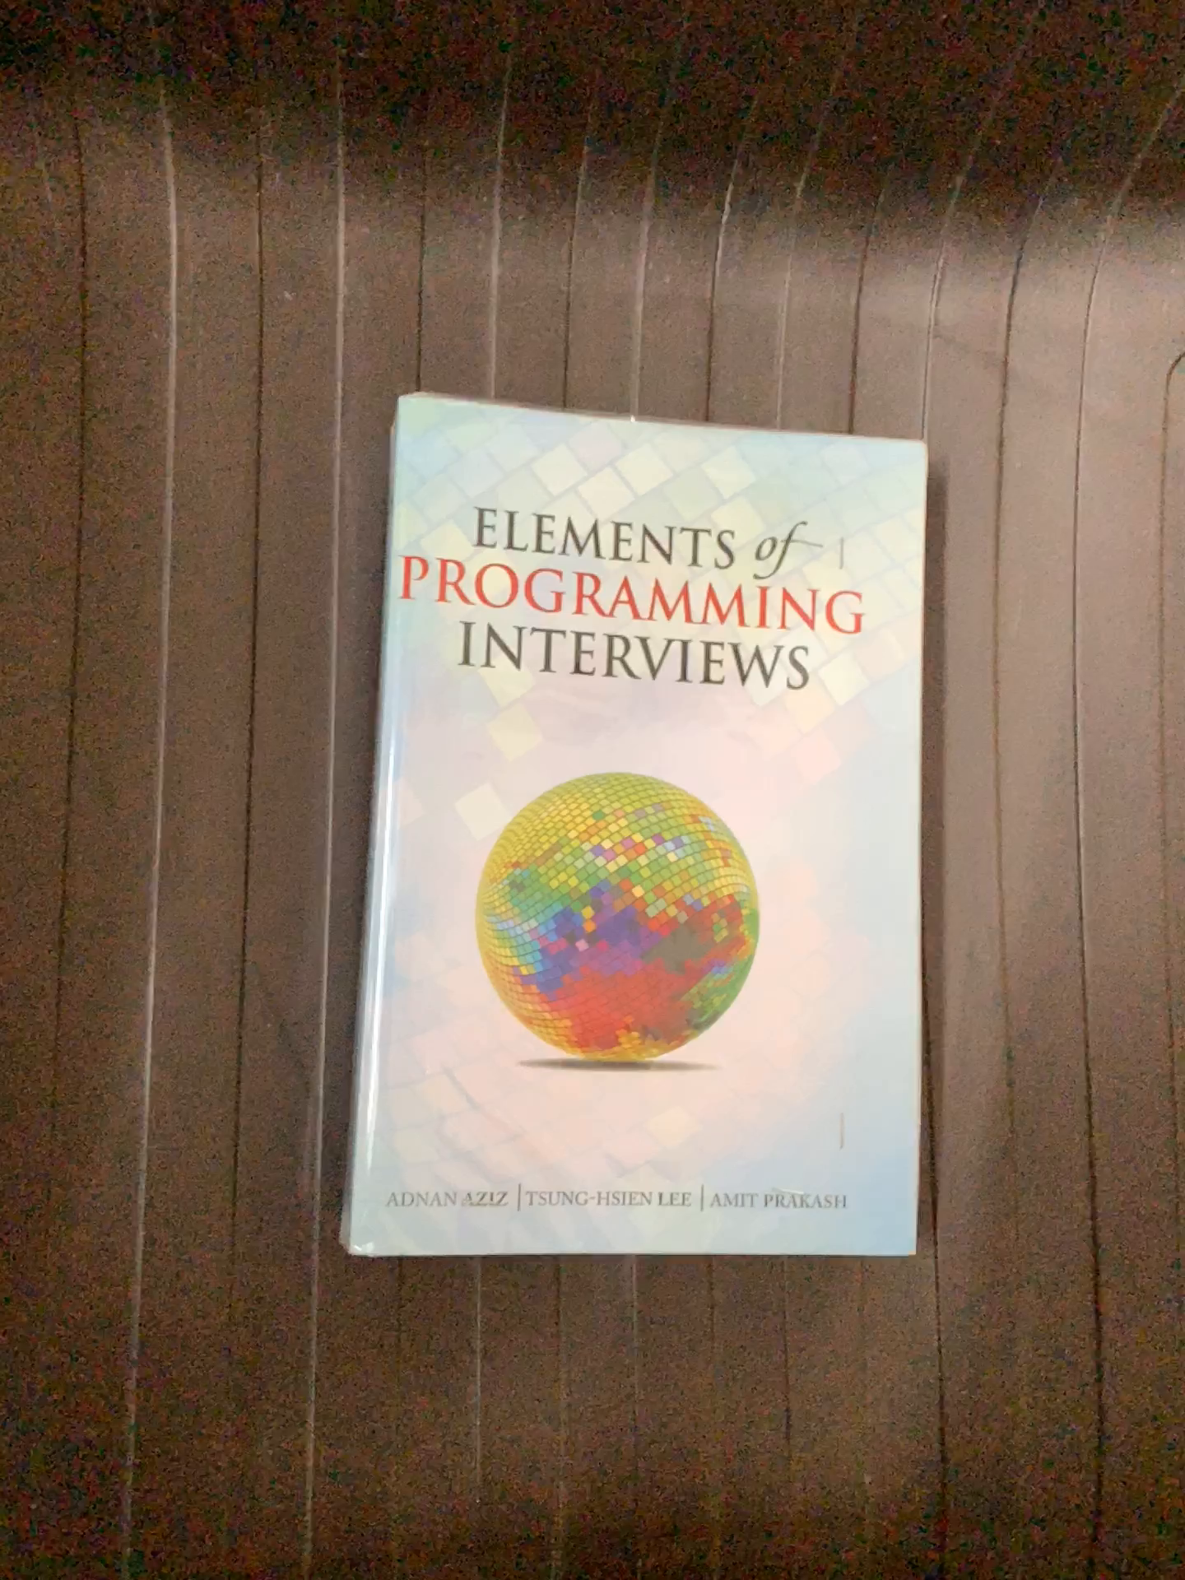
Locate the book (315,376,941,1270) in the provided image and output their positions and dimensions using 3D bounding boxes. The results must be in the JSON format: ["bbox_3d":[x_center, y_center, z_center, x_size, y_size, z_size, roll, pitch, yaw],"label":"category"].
[{"bbox_3d":[0.012,0.011,0.352,0.160,0.050,0.230,3,84,-9],"label":"book"}]
